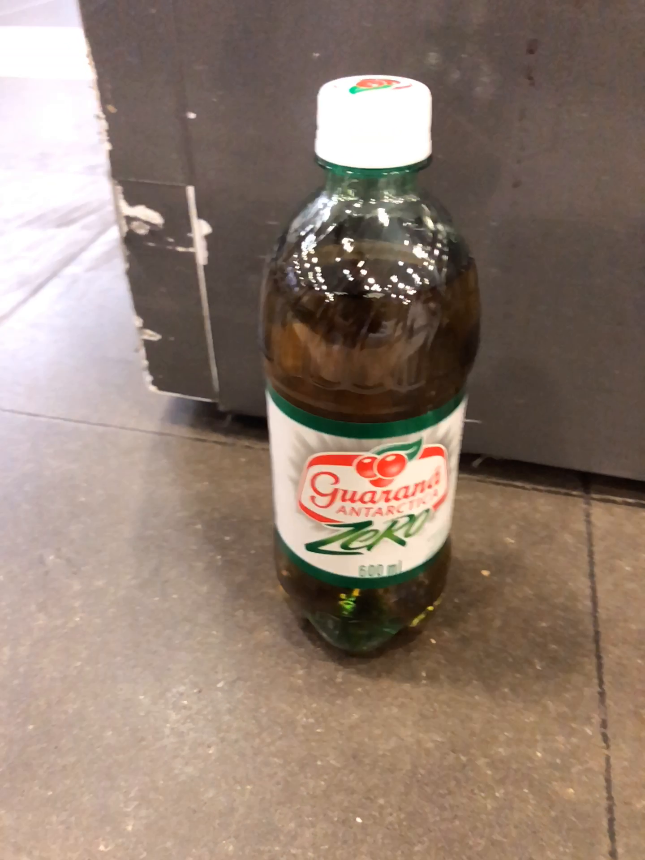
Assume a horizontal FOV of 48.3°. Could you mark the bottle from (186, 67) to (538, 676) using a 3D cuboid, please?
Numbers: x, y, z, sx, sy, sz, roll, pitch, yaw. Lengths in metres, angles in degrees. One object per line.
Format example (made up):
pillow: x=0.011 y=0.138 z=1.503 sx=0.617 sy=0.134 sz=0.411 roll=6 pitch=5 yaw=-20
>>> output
bottle: x=0.010 y=-0.006 z=0.255 sx=0.080 sy=0.208 sz=0.071 roll=1 pitch=37 yaw=1
